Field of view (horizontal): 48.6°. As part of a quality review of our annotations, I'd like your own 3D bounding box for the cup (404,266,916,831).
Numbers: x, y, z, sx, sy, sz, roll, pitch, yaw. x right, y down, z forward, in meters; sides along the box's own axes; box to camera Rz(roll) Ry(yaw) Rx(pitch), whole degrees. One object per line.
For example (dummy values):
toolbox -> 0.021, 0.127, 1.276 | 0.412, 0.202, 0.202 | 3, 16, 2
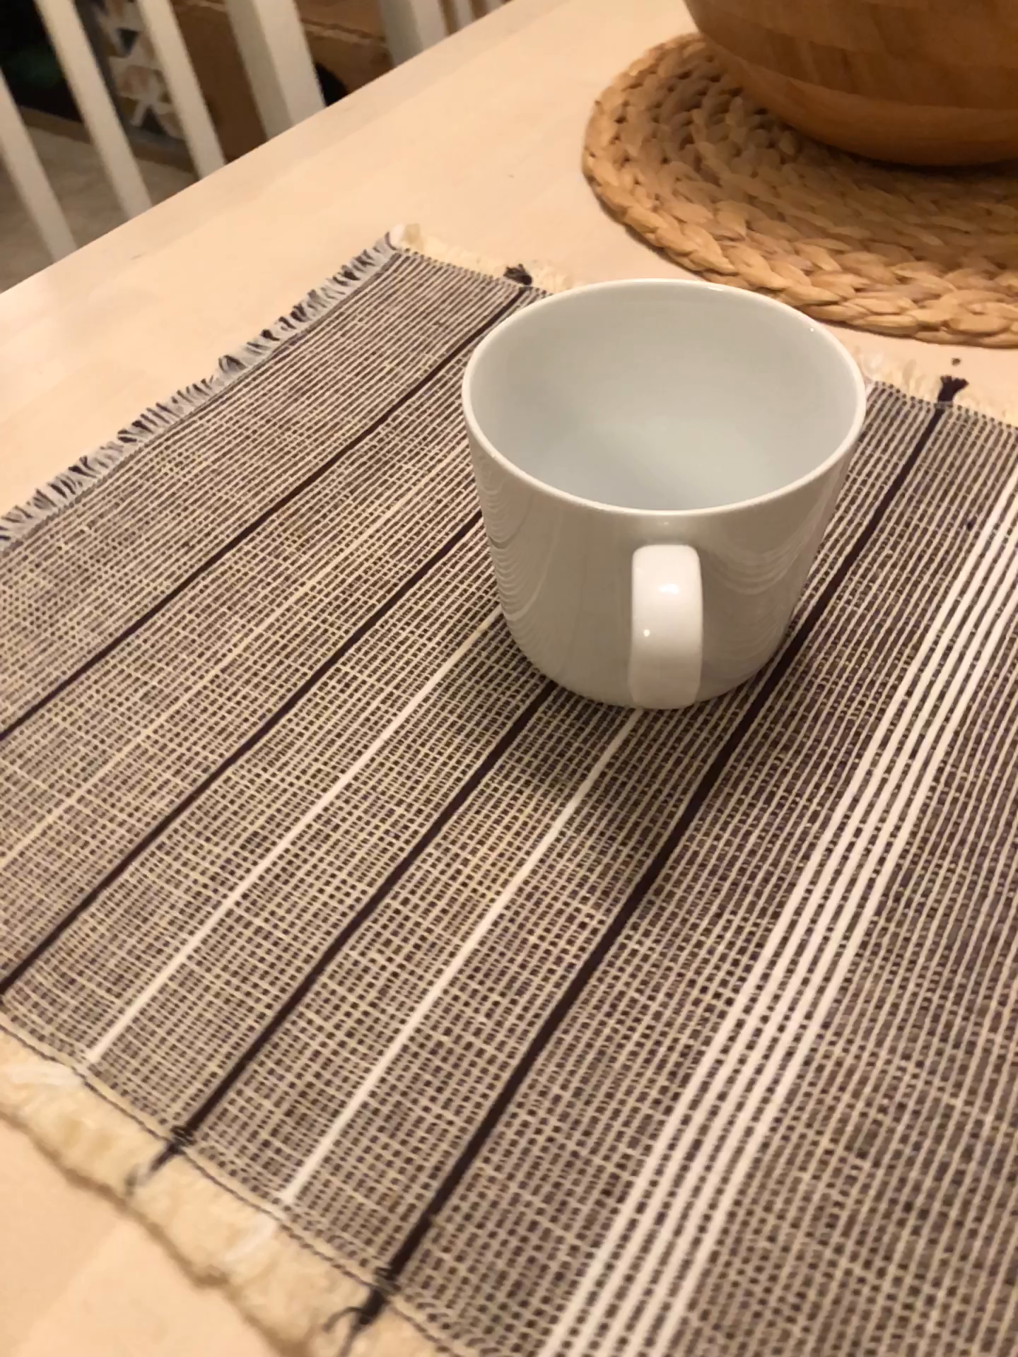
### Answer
cup -> 0.033, -0.040, 0.294 | 0.100, 0.070, 0.141 | 1, 48, 3
